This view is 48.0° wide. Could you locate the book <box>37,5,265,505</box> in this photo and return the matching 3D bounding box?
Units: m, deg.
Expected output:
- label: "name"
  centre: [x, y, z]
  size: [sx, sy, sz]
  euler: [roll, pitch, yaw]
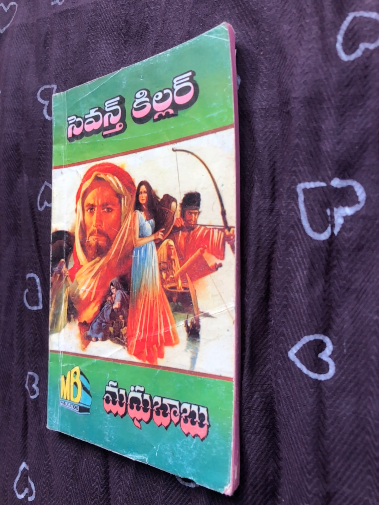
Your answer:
- label: "book"
  centre: [-0.020, 0.001, 0.159]
  size: [0.100, 0.010, 0.150]
  euler: [-1, 87, 35]
